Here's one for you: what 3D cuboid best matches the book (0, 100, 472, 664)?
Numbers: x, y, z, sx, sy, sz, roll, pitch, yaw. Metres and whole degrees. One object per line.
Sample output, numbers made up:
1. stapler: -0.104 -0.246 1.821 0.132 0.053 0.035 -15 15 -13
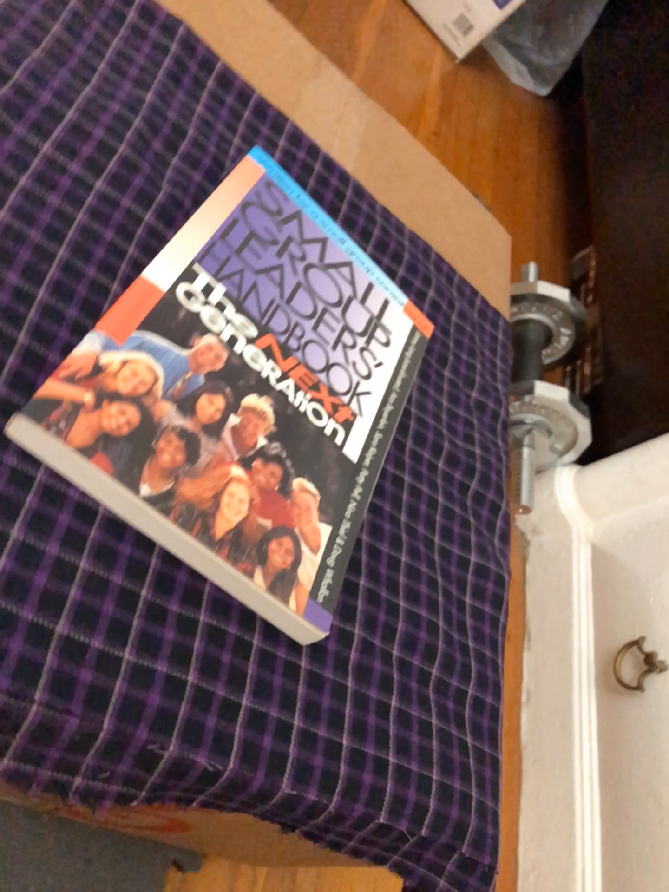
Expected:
1. book: -0.018 -0.043 0.328 0.150 0.030 0.221 42 45 -19
